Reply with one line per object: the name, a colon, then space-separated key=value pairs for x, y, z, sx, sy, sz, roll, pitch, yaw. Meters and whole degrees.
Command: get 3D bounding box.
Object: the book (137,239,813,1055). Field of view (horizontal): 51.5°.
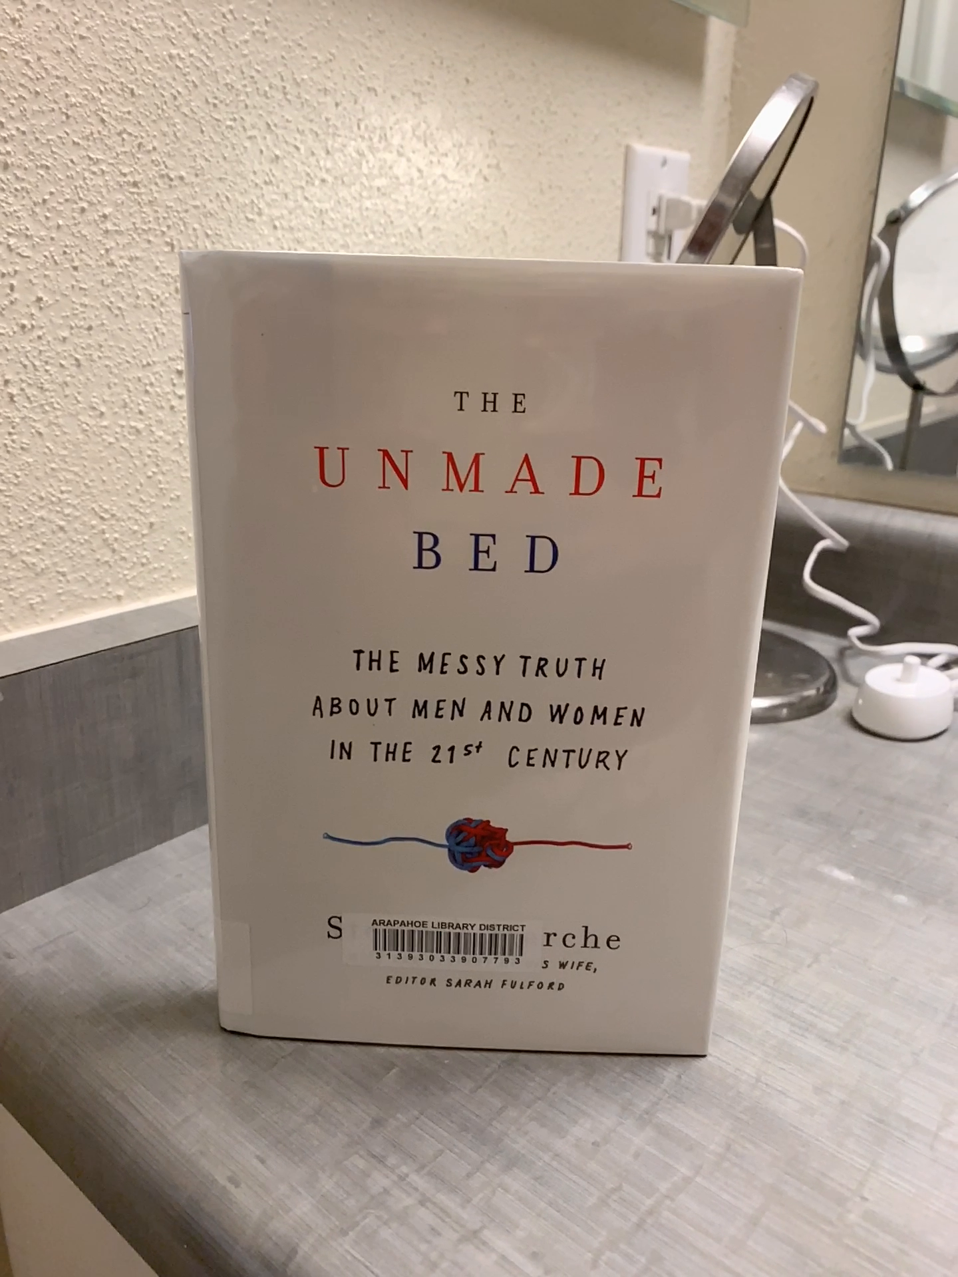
book: x=-0.004 y=0.009 z=0.270 sx=0.152 sy=0.214 sz=0.033 roll=2 pitch=17 yaw=1
